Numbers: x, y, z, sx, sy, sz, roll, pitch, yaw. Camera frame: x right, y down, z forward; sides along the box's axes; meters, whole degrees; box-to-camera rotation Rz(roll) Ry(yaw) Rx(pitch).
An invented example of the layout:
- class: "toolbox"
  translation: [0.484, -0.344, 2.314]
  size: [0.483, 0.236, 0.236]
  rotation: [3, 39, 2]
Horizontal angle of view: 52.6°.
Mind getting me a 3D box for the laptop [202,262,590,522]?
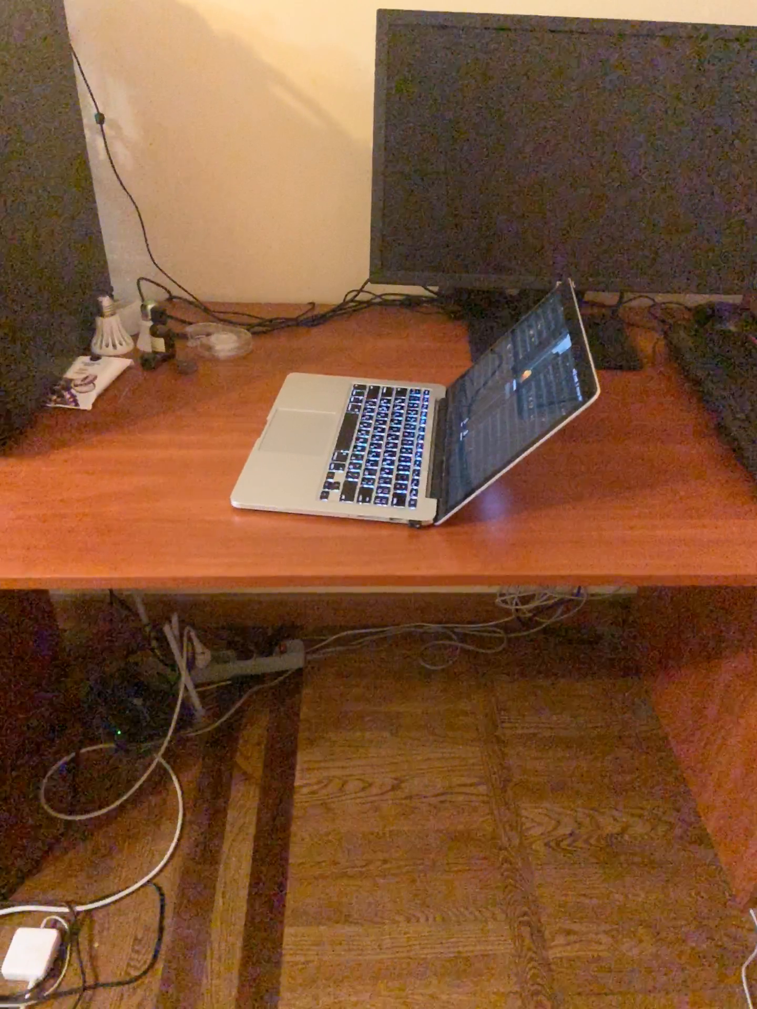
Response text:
- class: "laptop"
  translation: [0.026, -0.133, 0.809]
  size: [0.333, 0.139, 0.287]
  rotation: [3, 36, 4]
